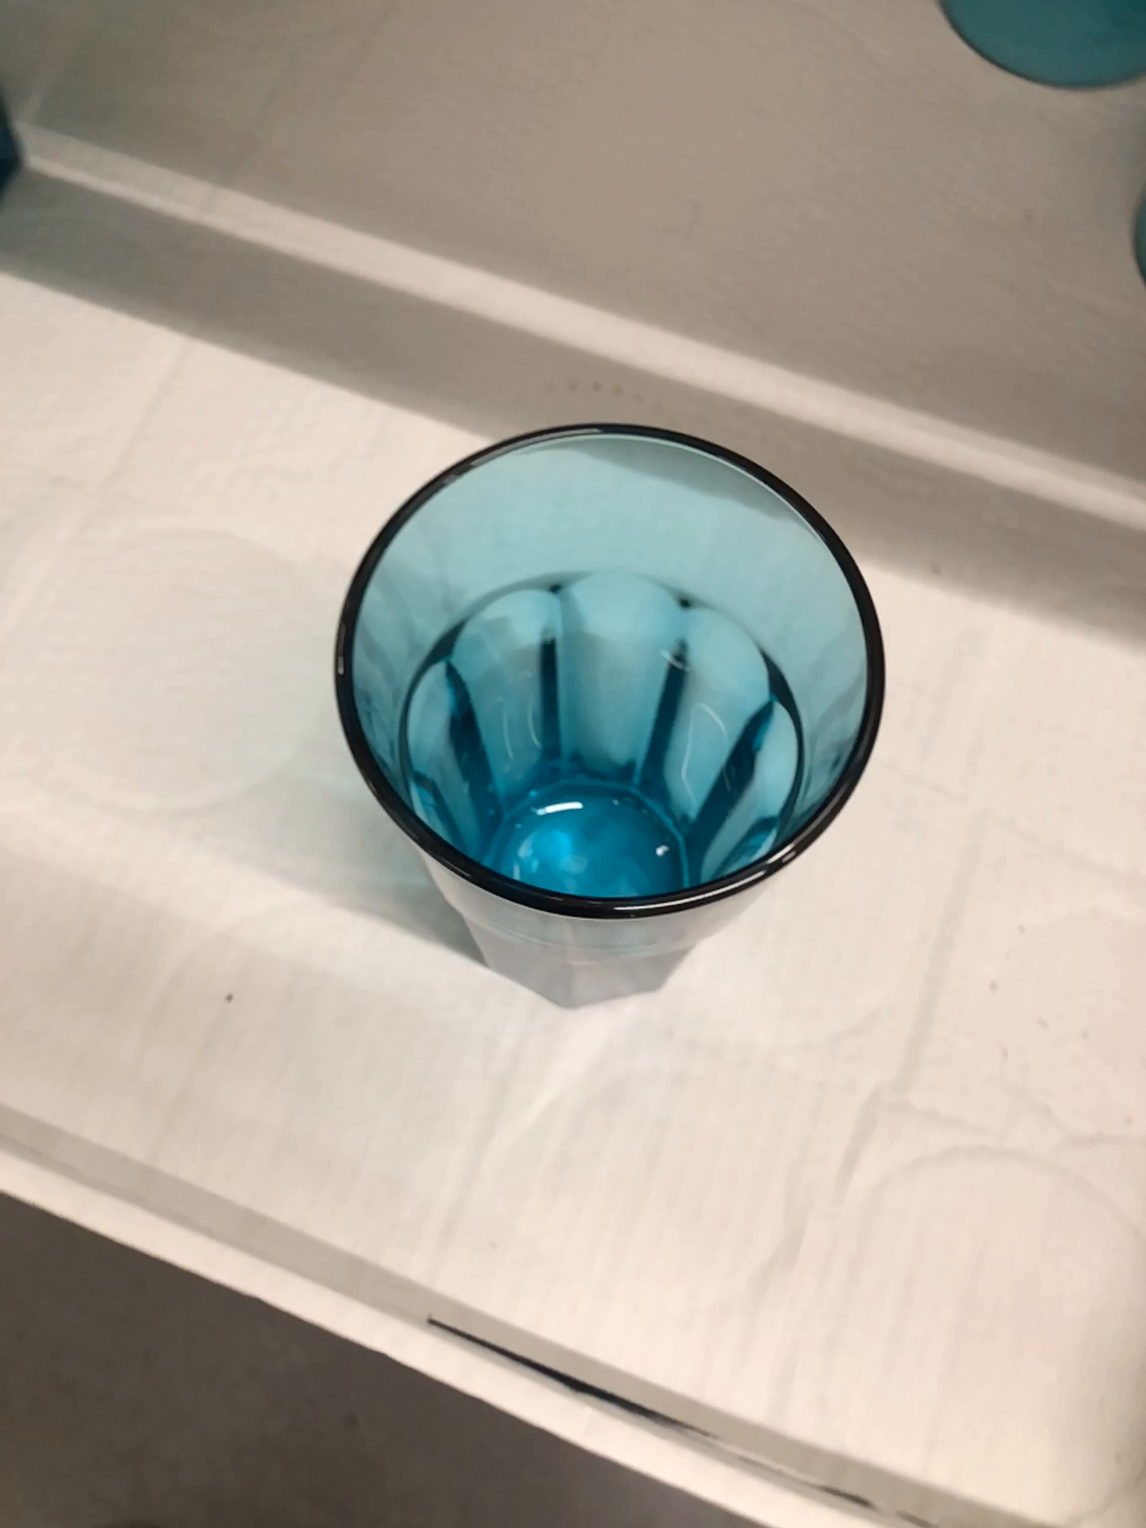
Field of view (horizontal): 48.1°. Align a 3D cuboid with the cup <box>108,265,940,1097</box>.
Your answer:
[{"bbox_3d":[-0.006,-0.006,0.236,0.089,0.102,0.092,0,71,-1],"label":"cup"}]
